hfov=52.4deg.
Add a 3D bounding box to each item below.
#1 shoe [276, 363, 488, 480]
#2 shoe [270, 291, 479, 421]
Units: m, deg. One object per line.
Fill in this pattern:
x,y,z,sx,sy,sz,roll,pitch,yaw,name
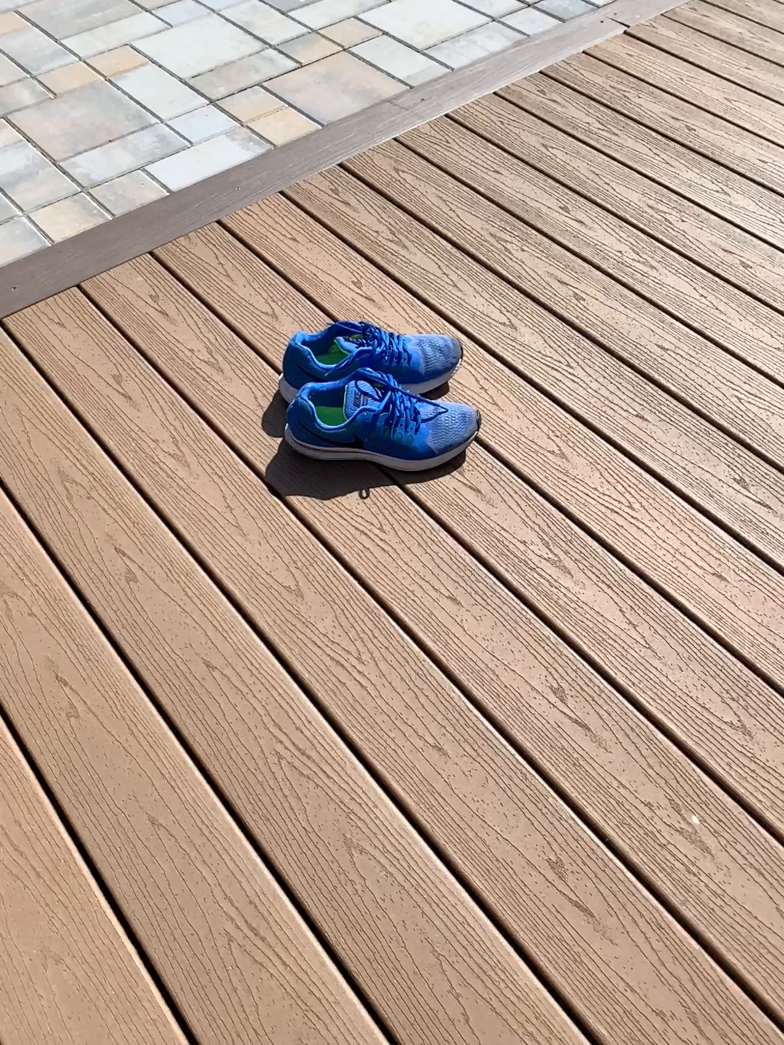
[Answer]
-0.011,-0.147,1.166,0.290,0.105,0.120,2,54,2,shoe
-0.029,-0.260,1.241,0.297,0.103,0.120,-10,54,-6,shoe
